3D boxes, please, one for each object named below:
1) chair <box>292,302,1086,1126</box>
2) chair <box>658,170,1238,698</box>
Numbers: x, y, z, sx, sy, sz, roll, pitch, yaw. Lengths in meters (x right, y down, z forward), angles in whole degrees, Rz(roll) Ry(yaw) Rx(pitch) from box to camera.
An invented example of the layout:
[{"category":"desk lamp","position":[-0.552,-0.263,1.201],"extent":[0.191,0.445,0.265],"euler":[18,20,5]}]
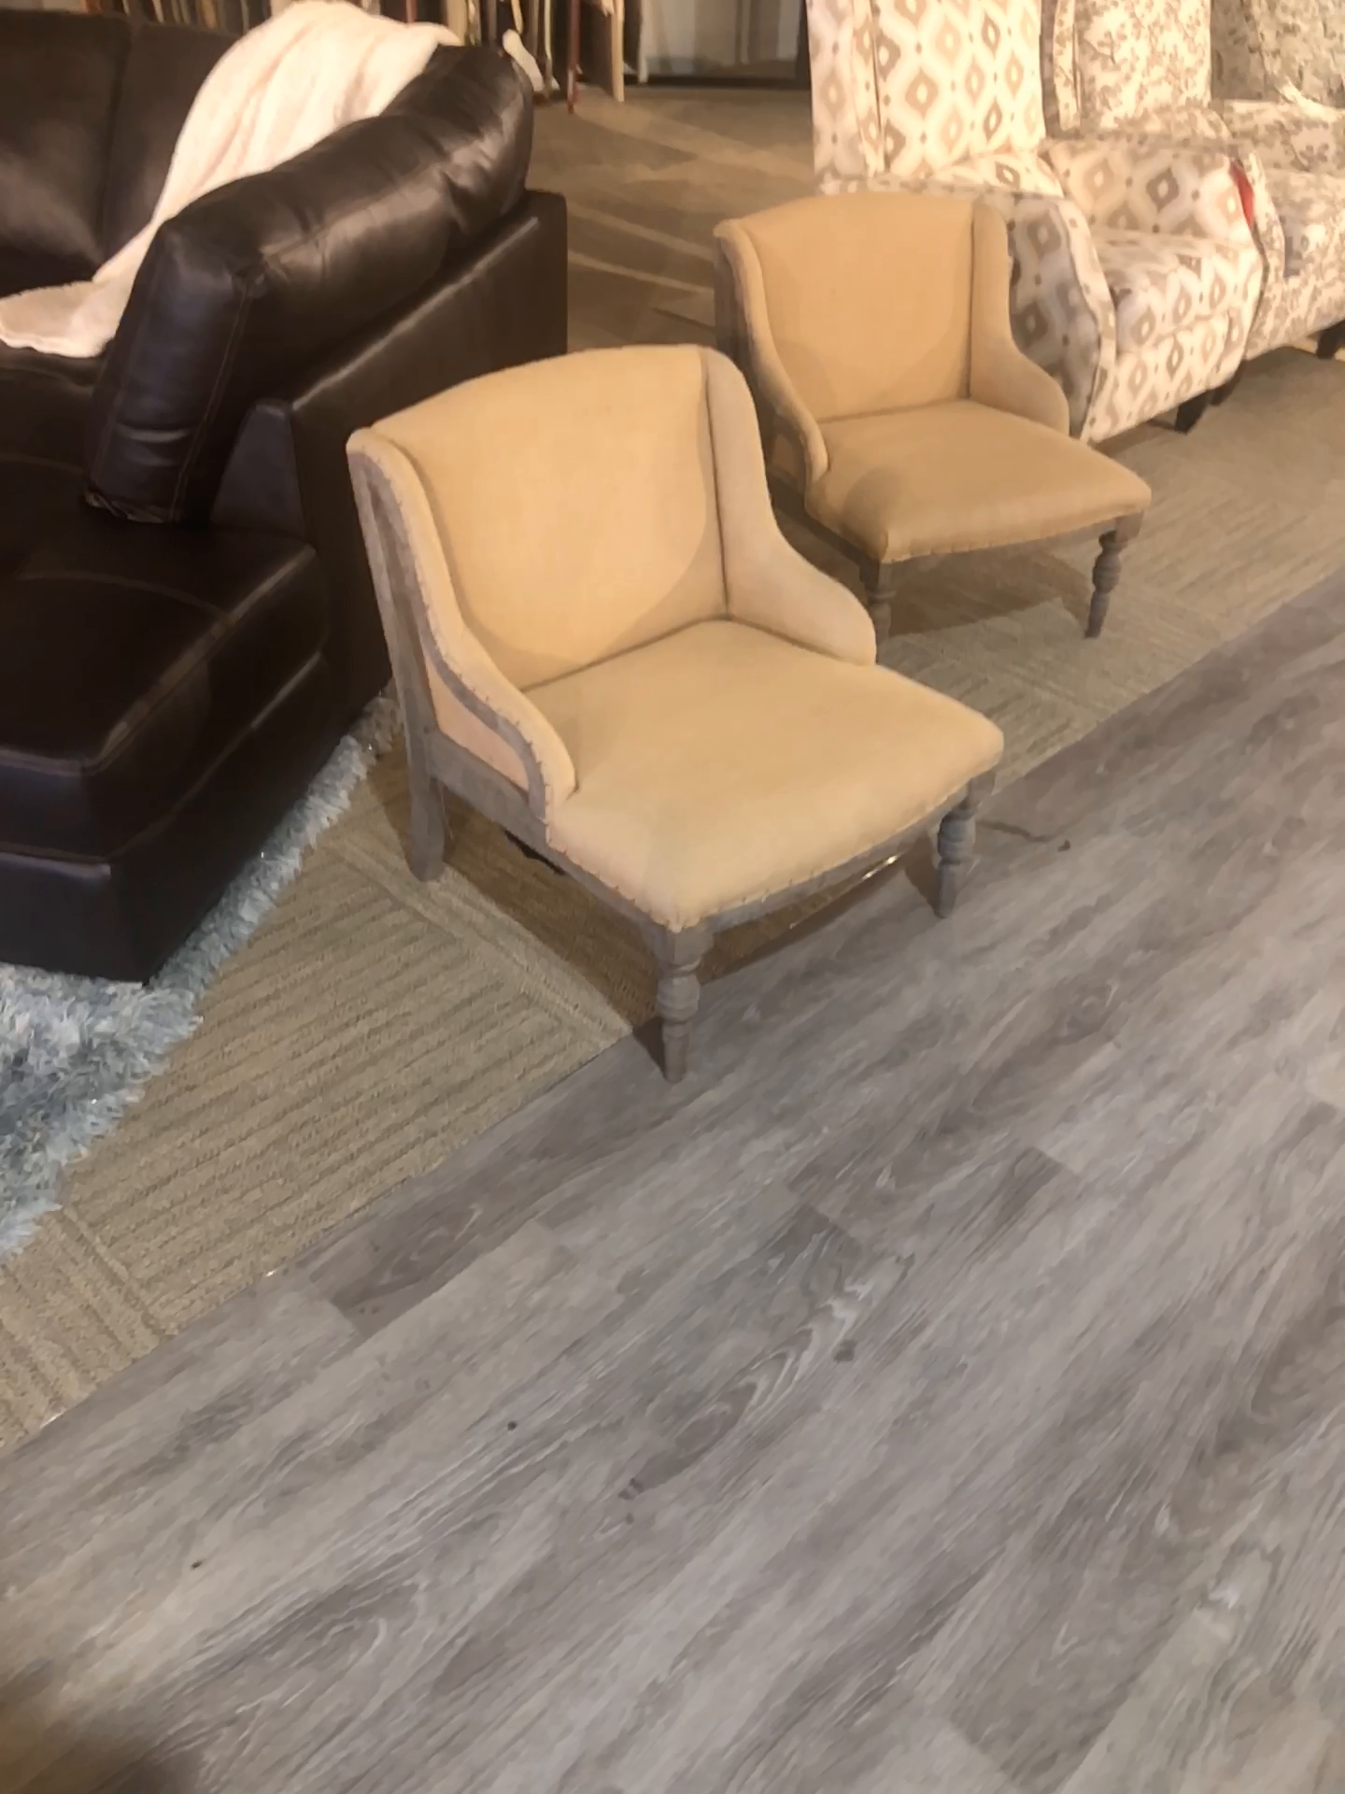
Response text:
[{"category":"chair","position":[0.002,-0.282,1.919],"extent":[0.638,0.685,0.670],"euler":[-29,48,-34]},{"category":"chair","position":[0.435,-0.864,2.650],"extent":[0.628,0.625,0.721],"euler":[-17,42,-25]}]
